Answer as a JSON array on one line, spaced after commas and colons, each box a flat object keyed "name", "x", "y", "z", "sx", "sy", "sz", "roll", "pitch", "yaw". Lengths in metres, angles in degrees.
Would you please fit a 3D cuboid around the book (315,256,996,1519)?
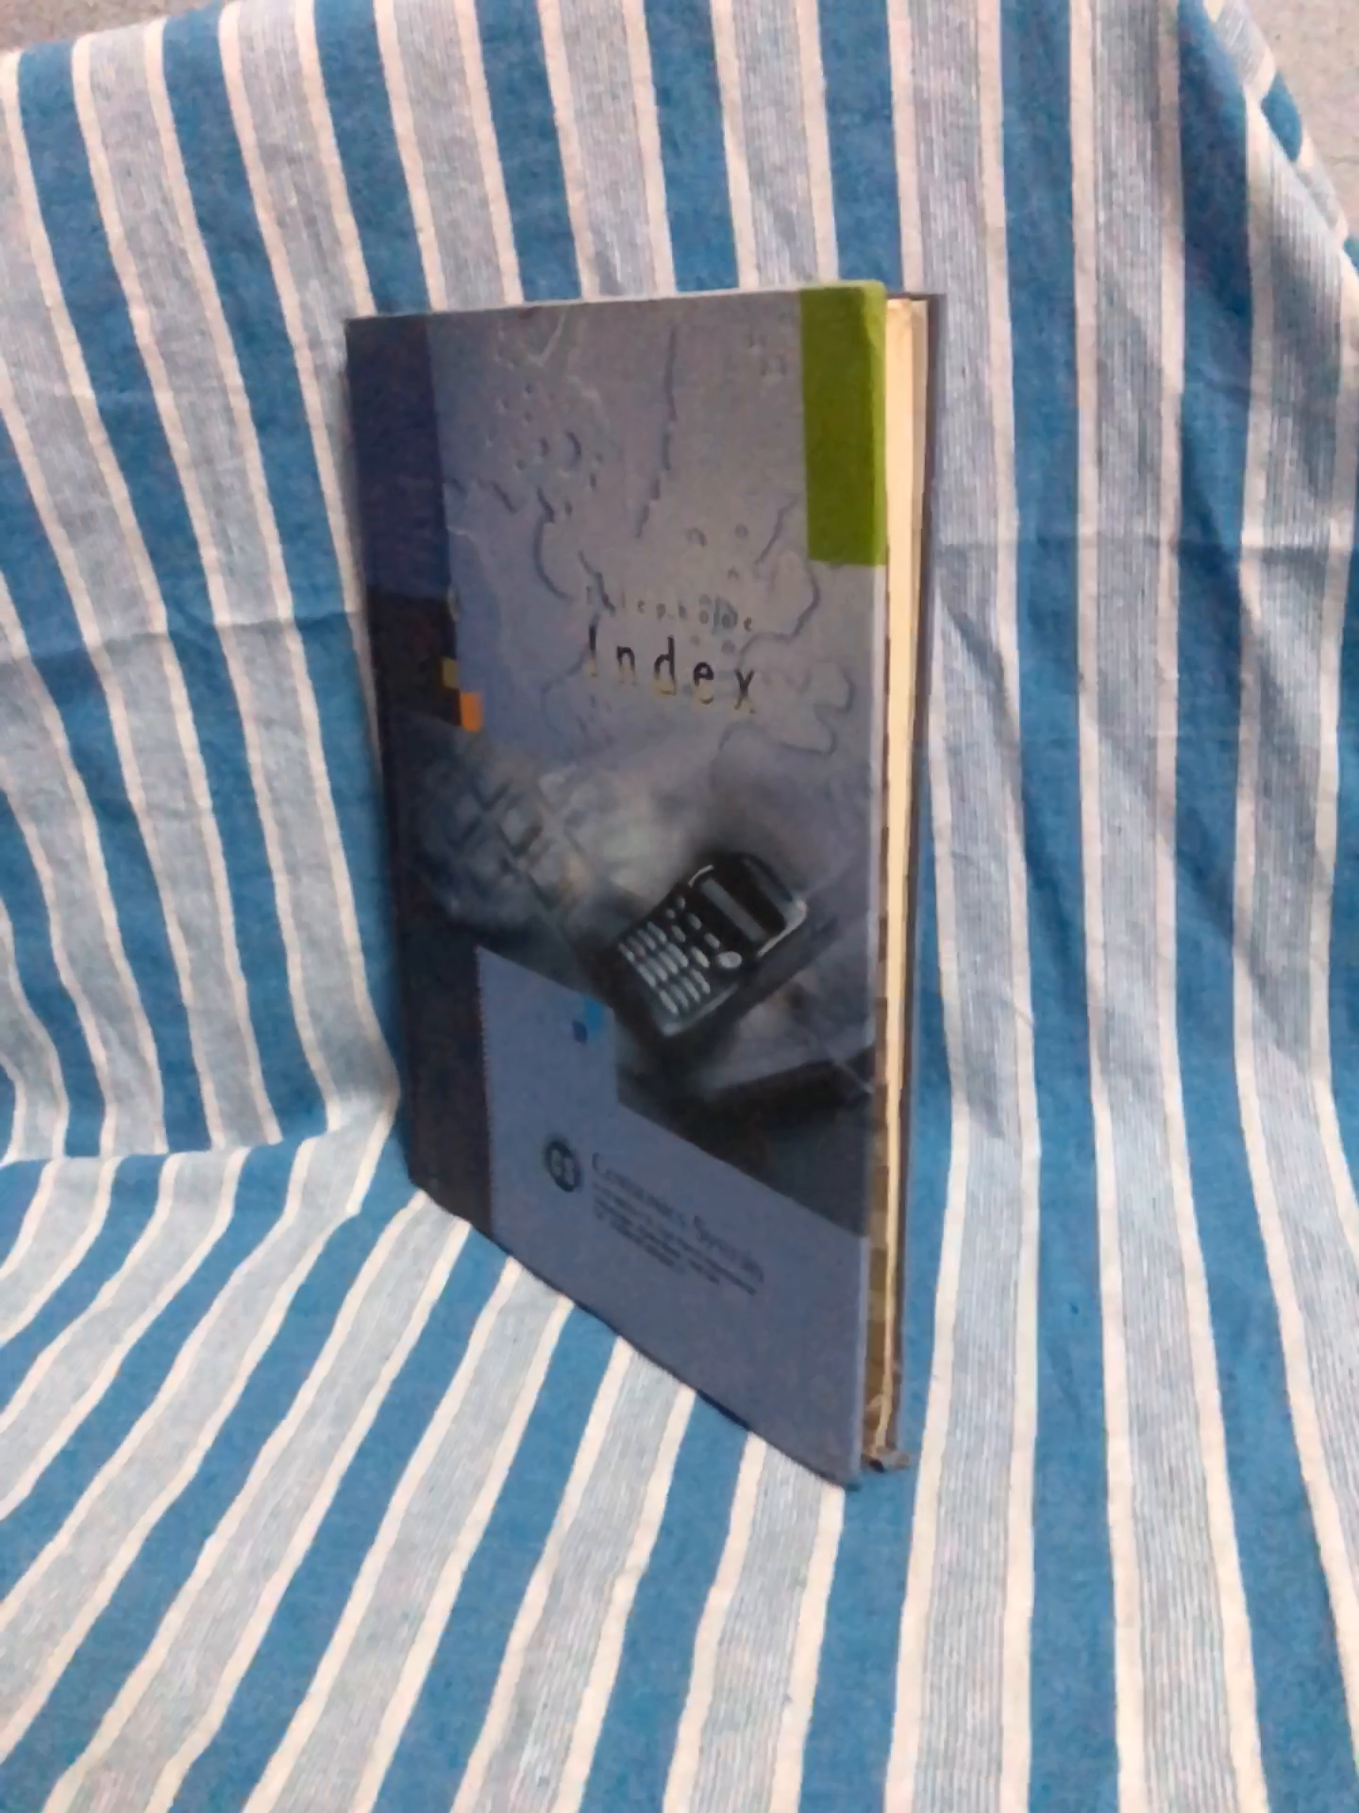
[{"name": "book", "x": -0.017, "y": -0.013, "z": 0.358, "sx": 0.023, "sy": 0.252, "sz": 0.193, "roll": -18, "pitch": 26, "yaw": -38}]
